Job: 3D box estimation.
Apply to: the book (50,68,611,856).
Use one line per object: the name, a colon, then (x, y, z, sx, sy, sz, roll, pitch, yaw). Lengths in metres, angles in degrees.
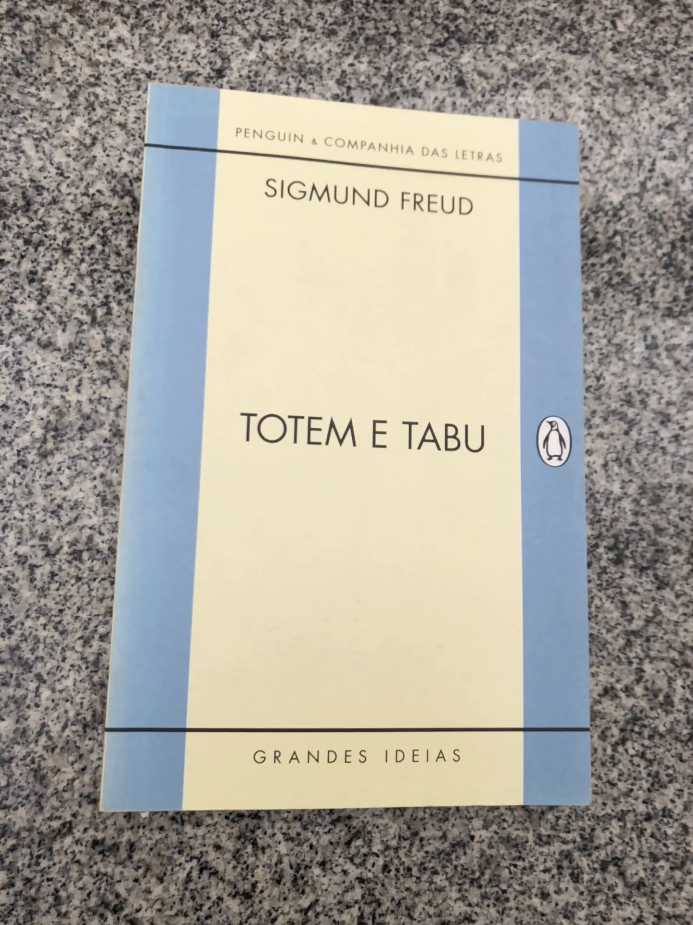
book: (0.001, -0.003, 0.202, 0.130, 0.015, 0.191, 3, 81, -7)
